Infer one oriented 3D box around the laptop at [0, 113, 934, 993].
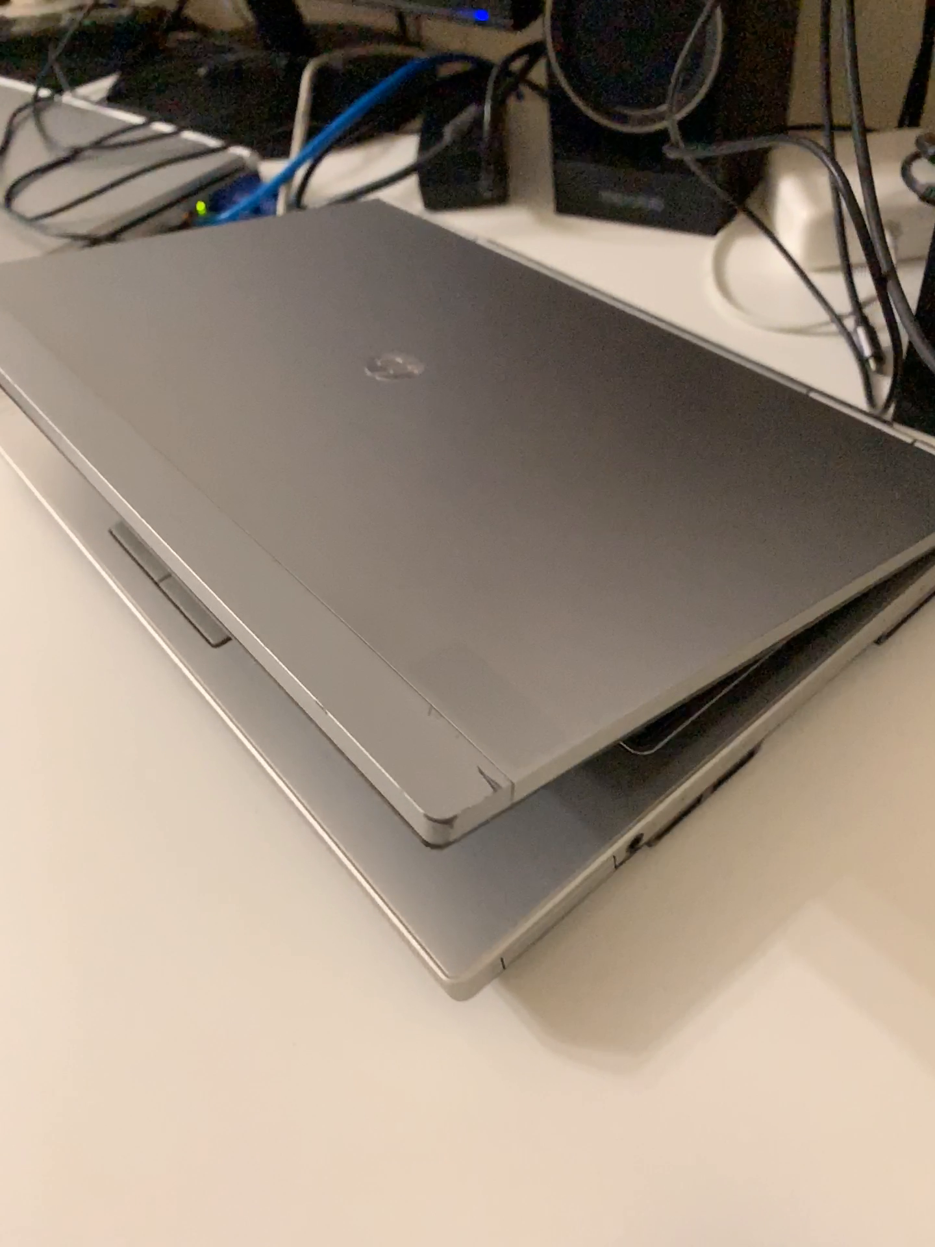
[{"bbox_3d":[-0.025,-0.070,0.315,0.200,0.042,0.305,-37,52,-18],"label":"laptop"}]
